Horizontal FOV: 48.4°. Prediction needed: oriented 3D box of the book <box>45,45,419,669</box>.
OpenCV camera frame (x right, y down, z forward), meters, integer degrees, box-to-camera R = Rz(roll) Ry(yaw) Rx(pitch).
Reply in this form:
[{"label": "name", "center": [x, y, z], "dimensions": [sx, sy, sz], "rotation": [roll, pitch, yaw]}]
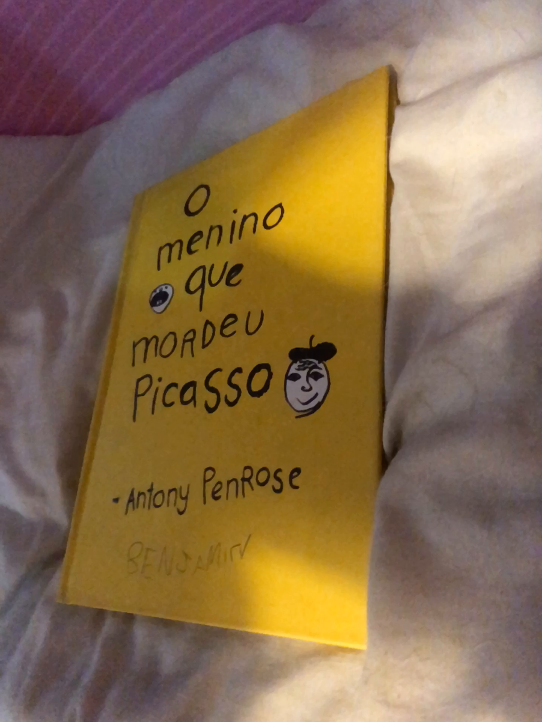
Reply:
[{"label": "book", "center": [-0.020, -0.005, 0.281], "dimensions": [0.181, 0.024, 0.240], "rotation": [-11, 64, 38]}]
